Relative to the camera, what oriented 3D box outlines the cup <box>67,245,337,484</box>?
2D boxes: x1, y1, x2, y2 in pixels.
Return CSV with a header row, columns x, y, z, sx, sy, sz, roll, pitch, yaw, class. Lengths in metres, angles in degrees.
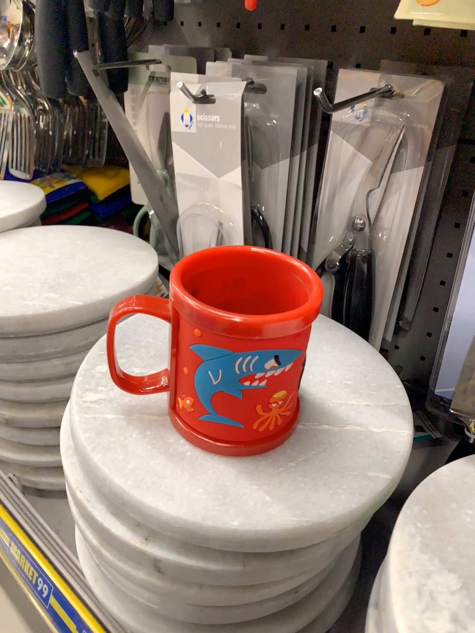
x,y,z,sx,sy,sz,roll,pitch,yaw,class
-0.020,0.023,0.276,0.120,0.100,0.080,-2,30,-7,cup
